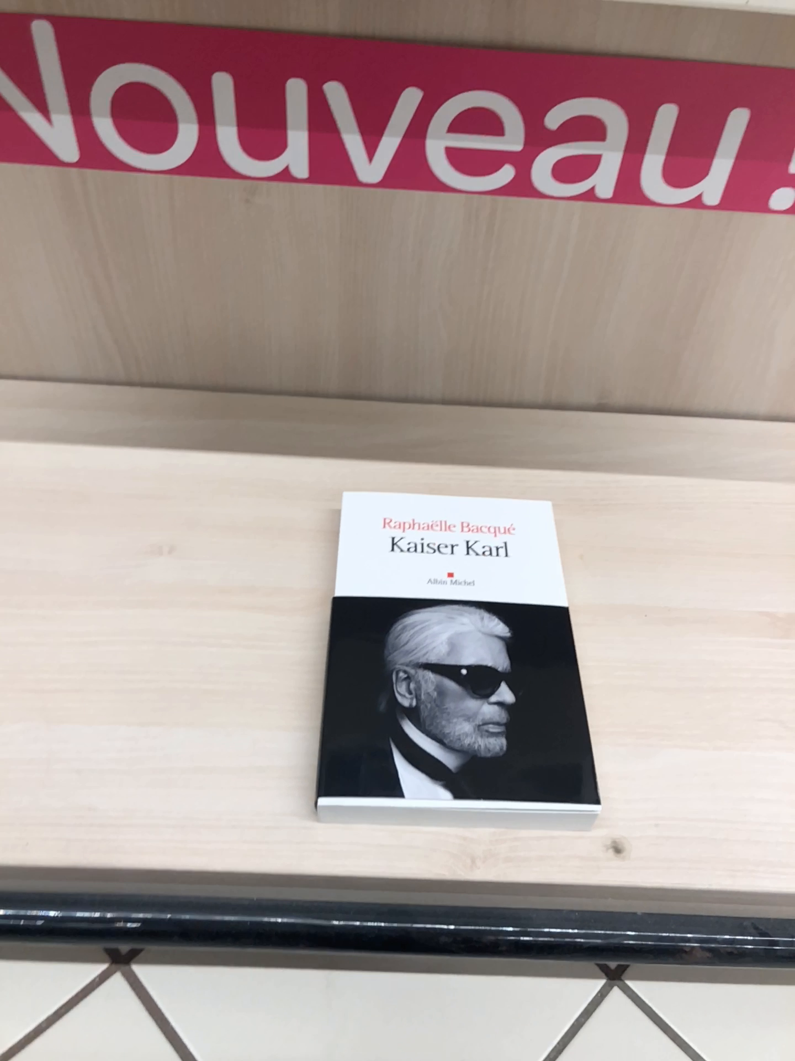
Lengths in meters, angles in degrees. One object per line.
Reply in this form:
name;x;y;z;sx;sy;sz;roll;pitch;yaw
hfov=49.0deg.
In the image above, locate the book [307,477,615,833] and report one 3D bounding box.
book;0.031;0.061;0.510;0.150;0.030;0.221;4;47;-4
